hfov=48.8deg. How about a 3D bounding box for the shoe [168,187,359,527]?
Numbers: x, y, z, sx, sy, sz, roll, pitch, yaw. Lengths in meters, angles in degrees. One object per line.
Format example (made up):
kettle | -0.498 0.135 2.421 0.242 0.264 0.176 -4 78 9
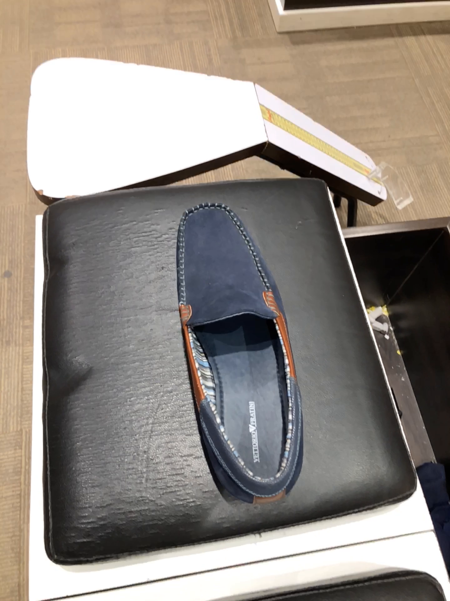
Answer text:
shoe | 0.020 0.045 0.471 0.110 0.100 0.291 -7 65 -7
